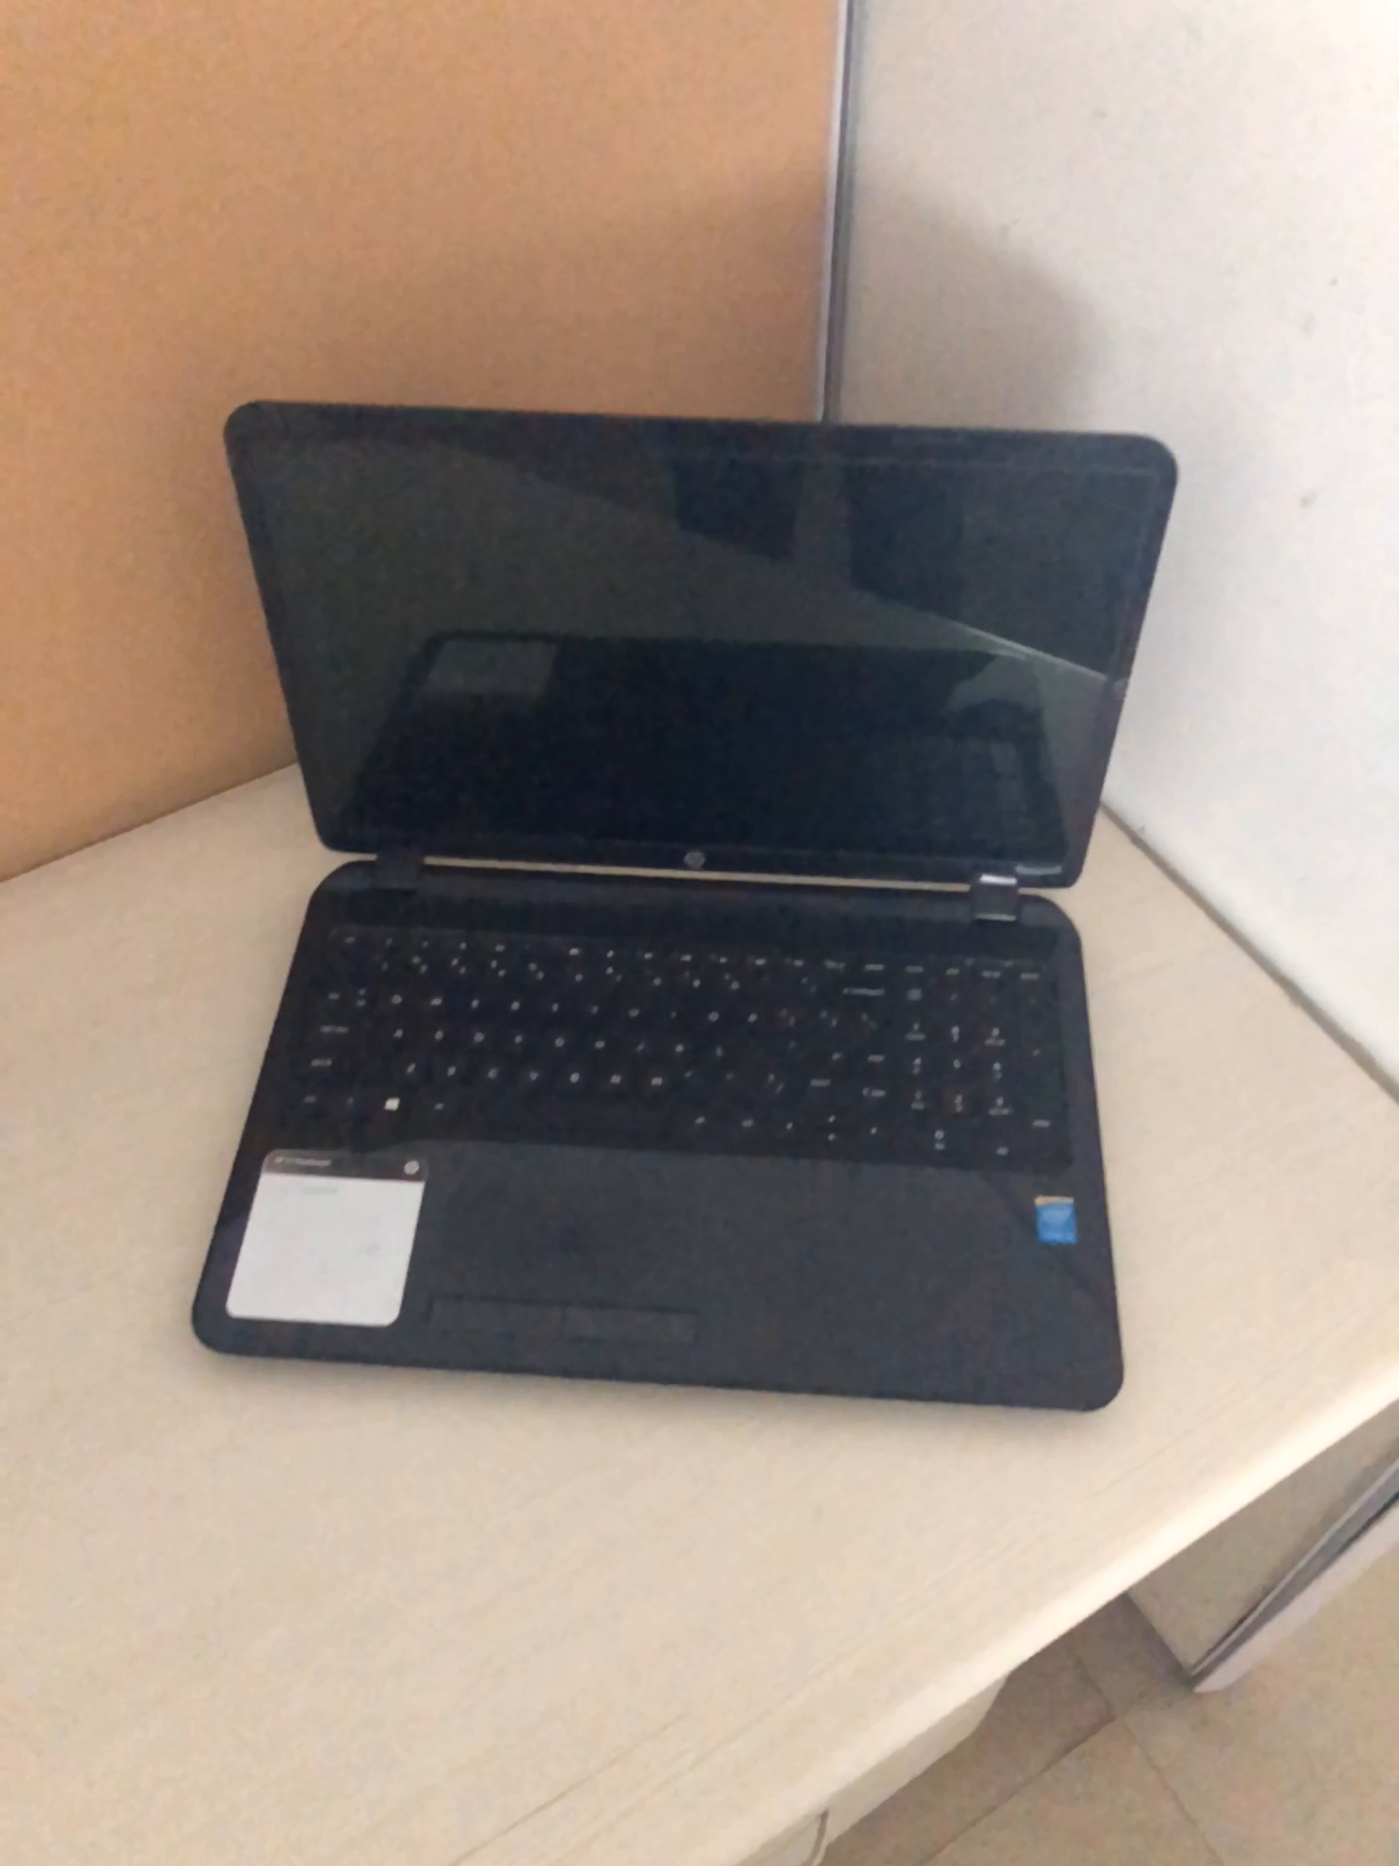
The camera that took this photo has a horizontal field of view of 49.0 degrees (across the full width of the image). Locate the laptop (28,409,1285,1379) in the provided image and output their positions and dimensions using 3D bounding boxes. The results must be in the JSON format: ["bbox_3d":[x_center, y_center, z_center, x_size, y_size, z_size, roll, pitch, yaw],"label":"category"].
[{"bbox_3d":[-0.001,-0.014,0.593,0.350,0.226,0.266,4,53,3],"label":"laptop"}]
